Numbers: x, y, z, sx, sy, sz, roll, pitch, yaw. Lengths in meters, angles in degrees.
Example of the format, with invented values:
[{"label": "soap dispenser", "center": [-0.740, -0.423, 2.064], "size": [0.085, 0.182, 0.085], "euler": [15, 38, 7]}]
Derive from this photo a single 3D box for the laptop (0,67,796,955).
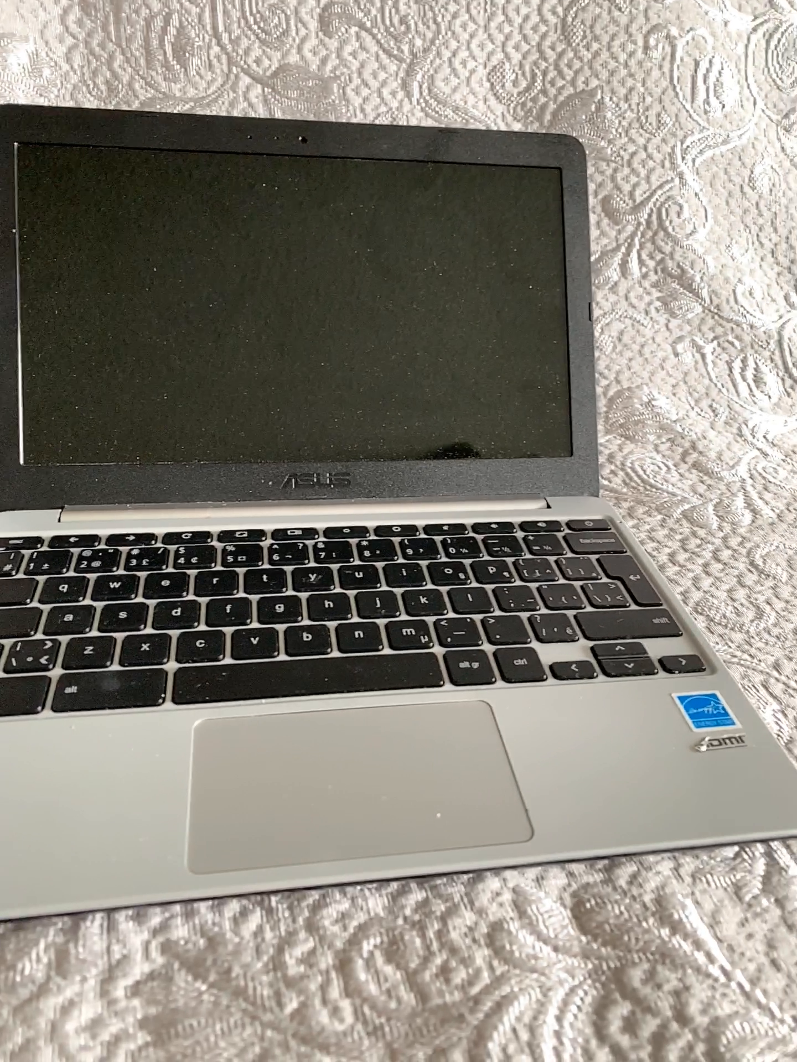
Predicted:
[{"label": "laptop", "center": [-0.024, -0.046, 0.309], "size": [0.288, 0.127, 0.288], "euler": [-1, 40, -17]}]
